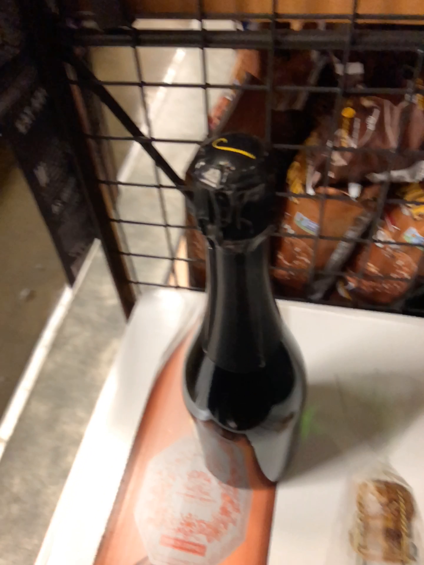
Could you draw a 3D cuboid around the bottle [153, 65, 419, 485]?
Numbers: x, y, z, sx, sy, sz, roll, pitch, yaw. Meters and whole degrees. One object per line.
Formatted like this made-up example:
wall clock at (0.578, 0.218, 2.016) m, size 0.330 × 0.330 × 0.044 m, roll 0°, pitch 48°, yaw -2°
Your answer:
bottle at (0.029, 0.031, 0.299) m, size 0.090 × 0.289 × 0.090 m, roll -2°, pitch 50°, yaw 2°
